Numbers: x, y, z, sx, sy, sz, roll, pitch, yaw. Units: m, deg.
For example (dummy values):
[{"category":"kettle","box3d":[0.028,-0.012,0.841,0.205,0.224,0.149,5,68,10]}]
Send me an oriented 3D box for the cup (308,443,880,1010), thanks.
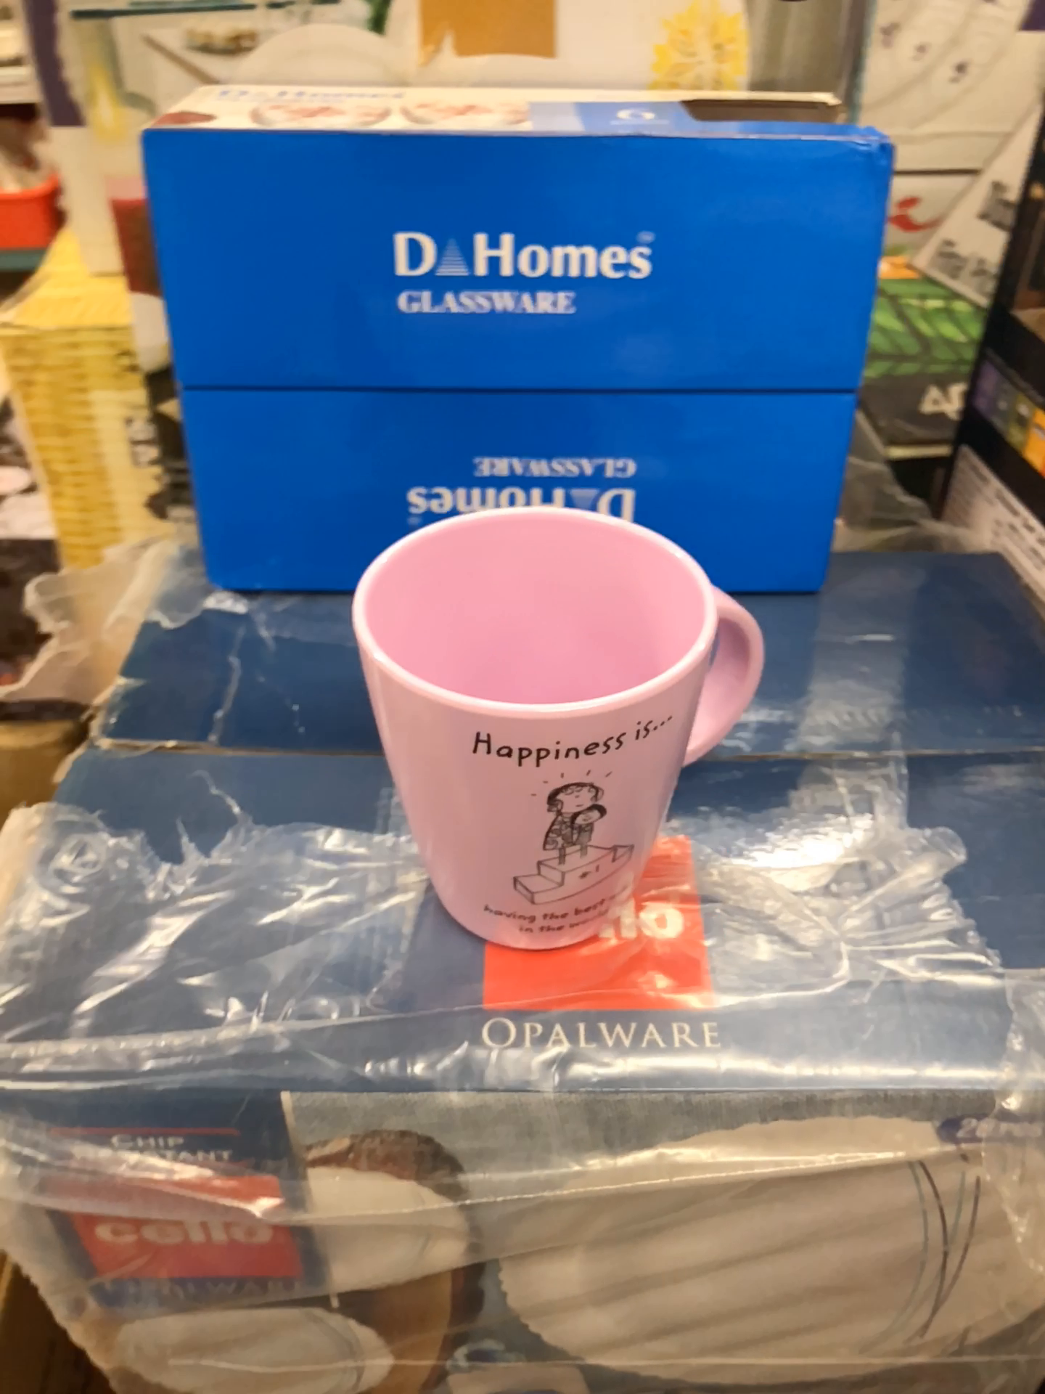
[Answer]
[{"category":"cup","box3d":[0.012,0.004,0.304,0.110,0.089,0.090,-12,42,-14]}]
